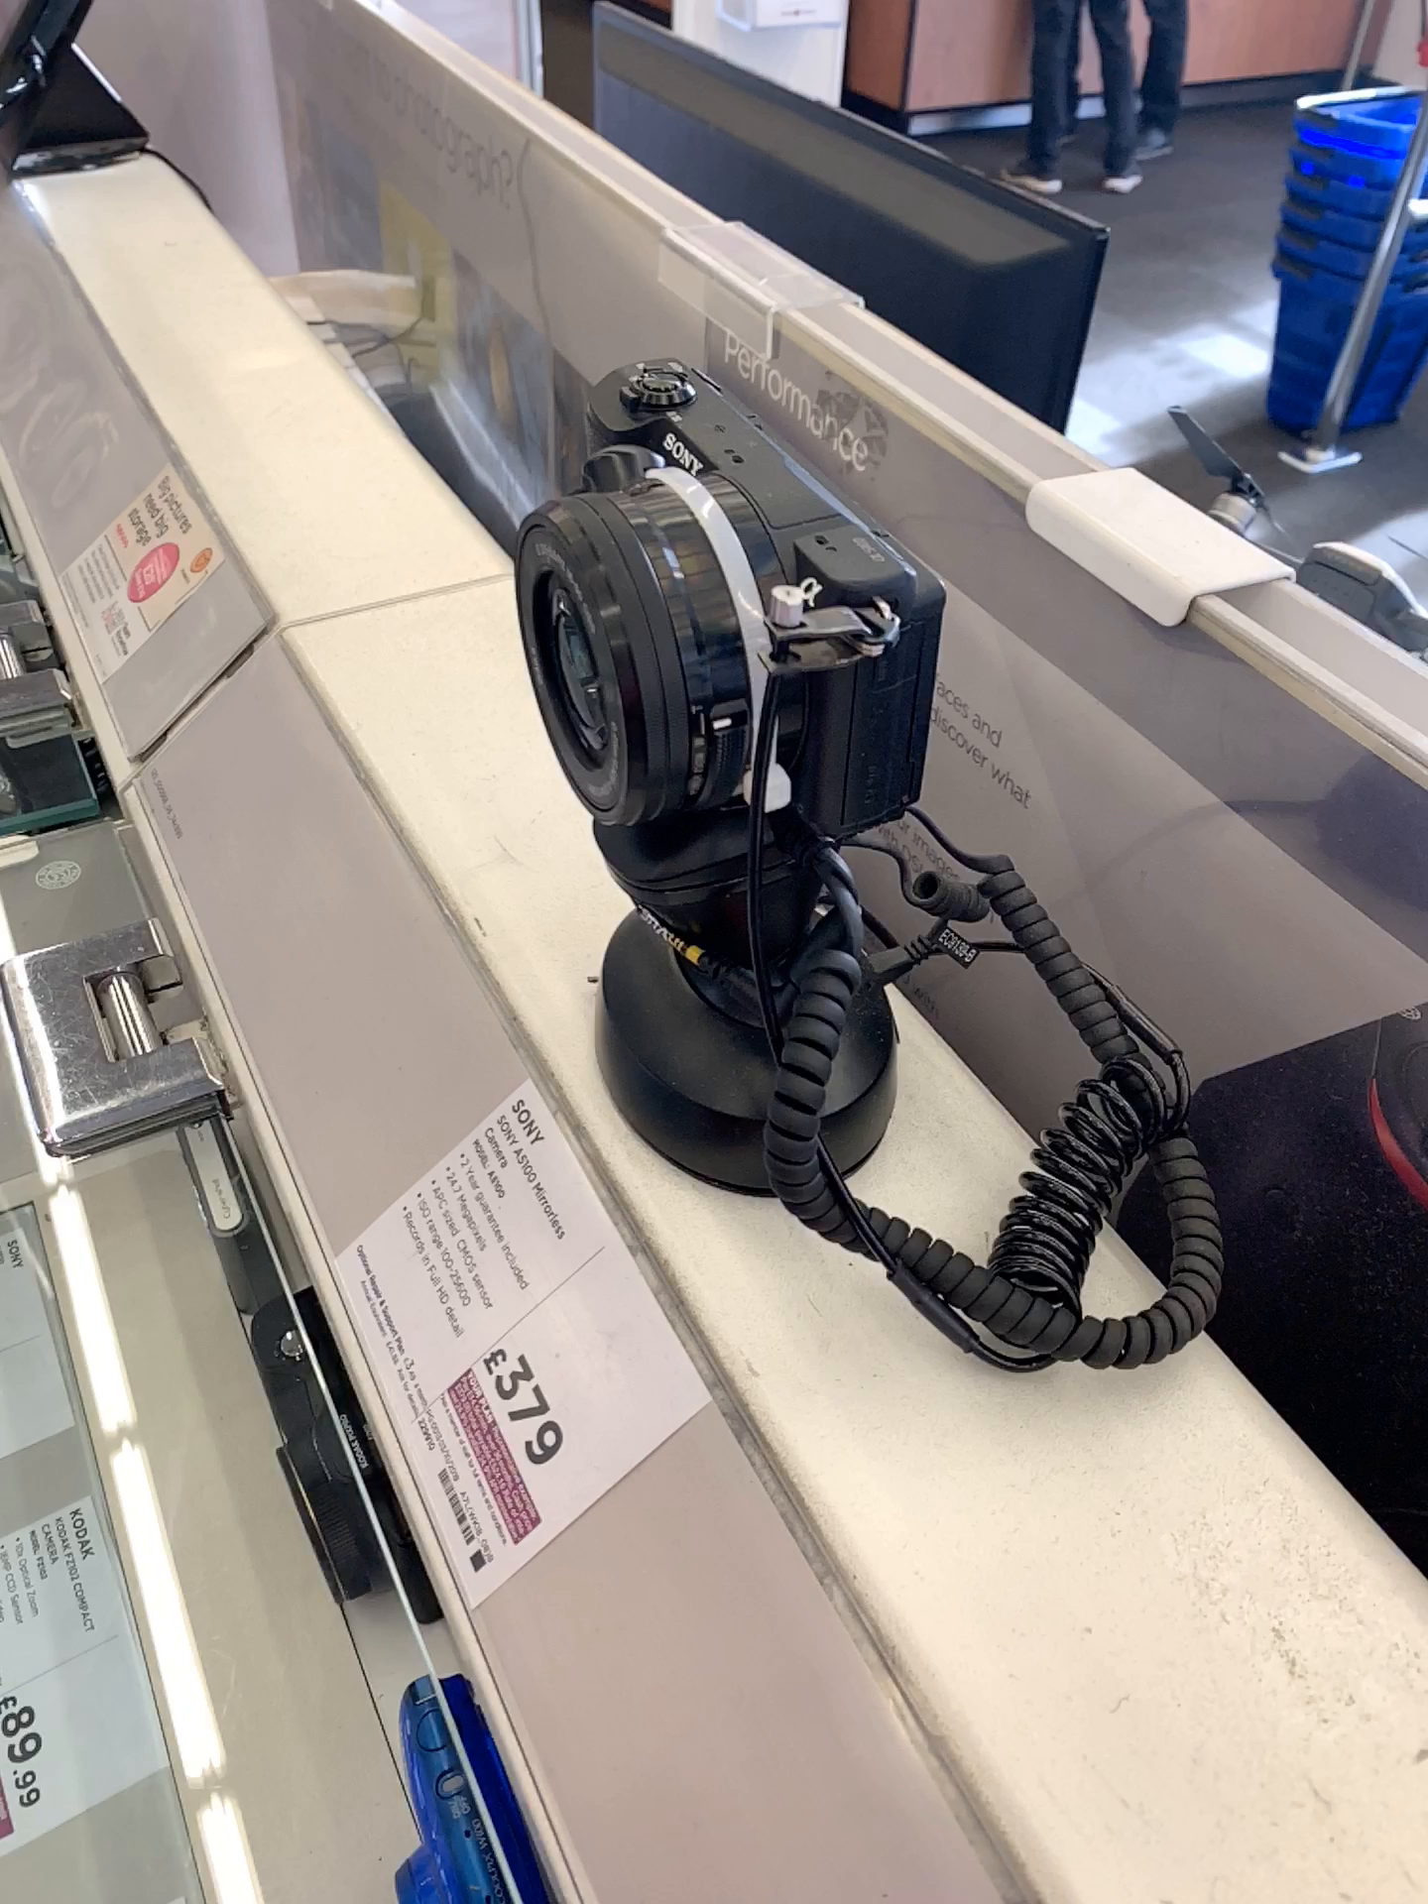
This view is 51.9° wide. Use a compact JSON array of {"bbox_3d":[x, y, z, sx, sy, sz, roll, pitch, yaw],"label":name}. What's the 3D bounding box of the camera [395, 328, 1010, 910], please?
[{"bbox_3d":[-0.009,-0.078,0.313,0.080,0.059,0.121,-16,45,-20],"label":"camera"}]
